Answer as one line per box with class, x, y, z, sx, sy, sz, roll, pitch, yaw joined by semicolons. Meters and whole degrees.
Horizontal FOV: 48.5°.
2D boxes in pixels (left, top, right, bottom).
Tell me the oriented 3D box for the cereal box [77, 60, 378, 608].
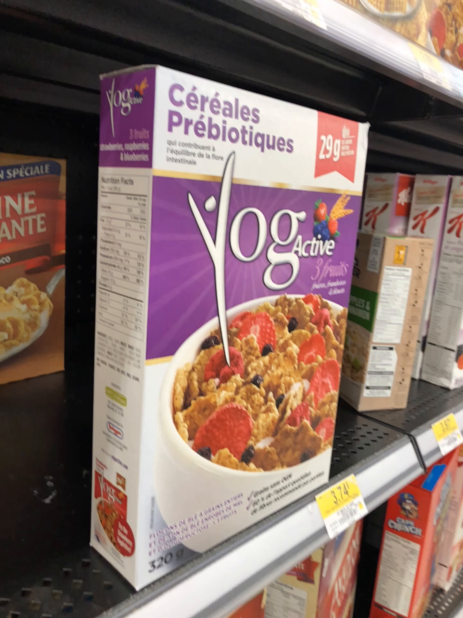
cereal box;0.003;0.012;0.340;0.190;0.279;0.060;-7;16;-44
